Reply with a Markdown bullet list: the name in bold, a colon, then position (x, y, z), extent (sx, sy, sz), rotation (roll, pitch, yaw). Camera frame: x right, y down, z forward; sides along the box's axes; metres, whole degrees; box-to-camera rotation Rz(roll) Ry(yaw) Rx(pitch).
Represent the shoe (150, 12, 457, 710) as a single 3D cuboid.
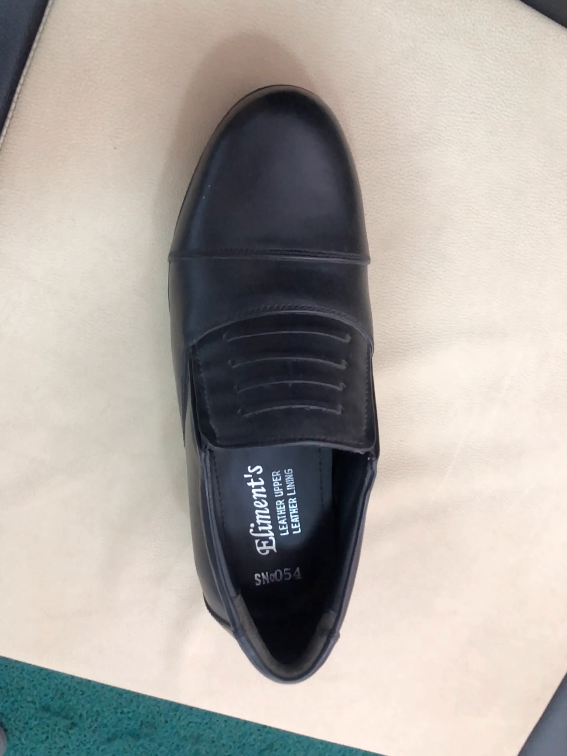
- **shoe**: position (0.004, -0.004, 0.298), extent (0.100, 0.120, 0.270), rotation (-3, 106, -6)
